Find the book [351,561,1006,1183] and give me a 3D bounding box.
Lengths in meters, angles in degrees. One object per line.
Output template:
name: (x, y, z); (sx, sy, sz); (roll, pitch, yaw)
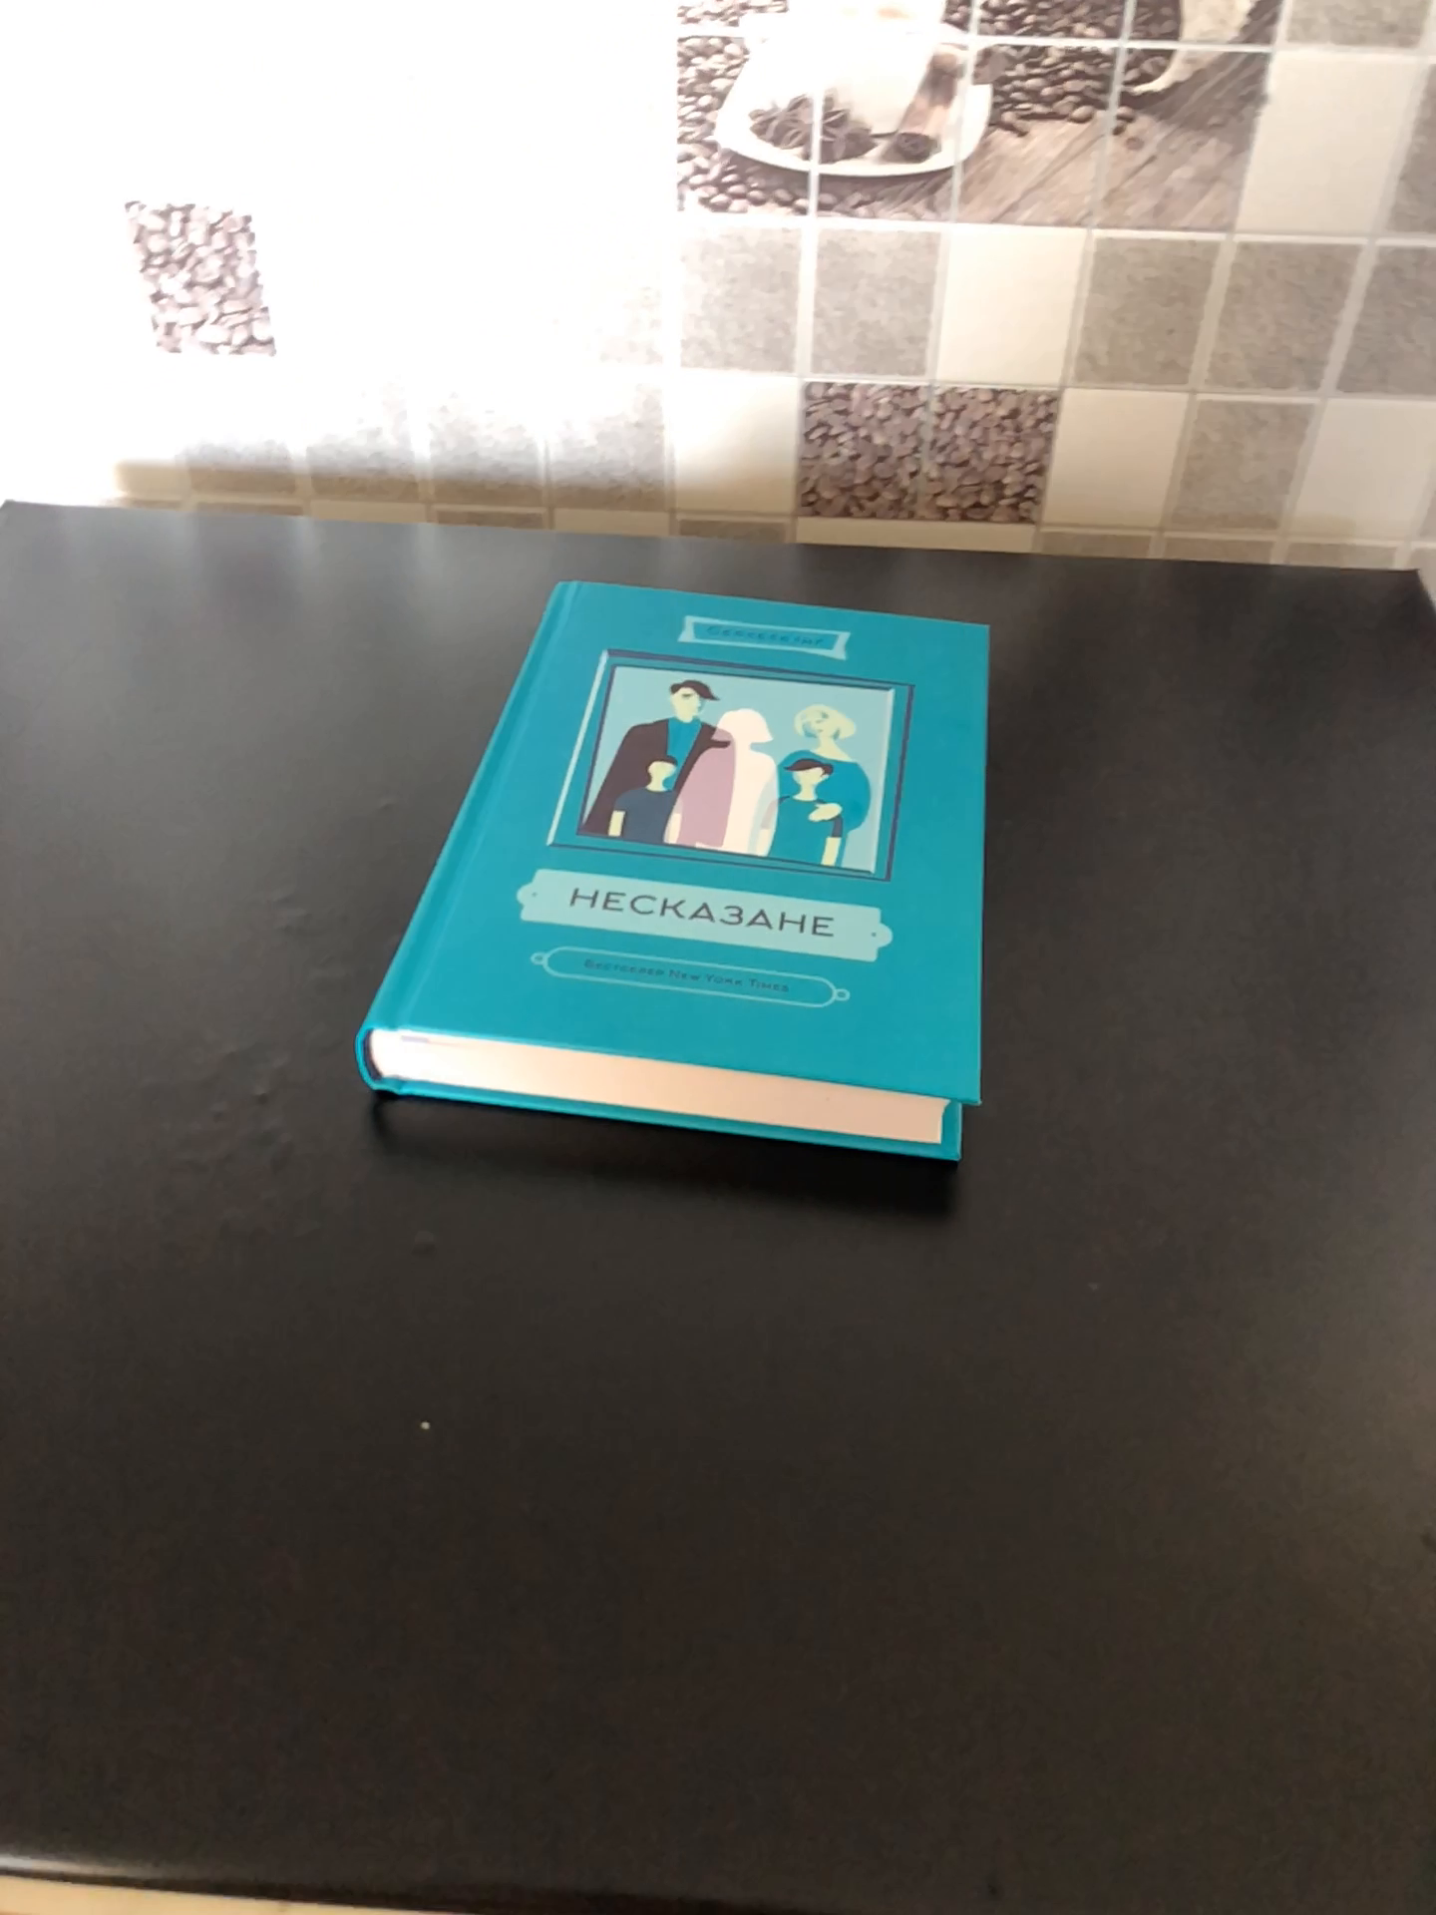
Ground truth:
book: (0.003, -0.038, 0.447); (0.150, 0.030, 0.211); (7, 44, 4)
